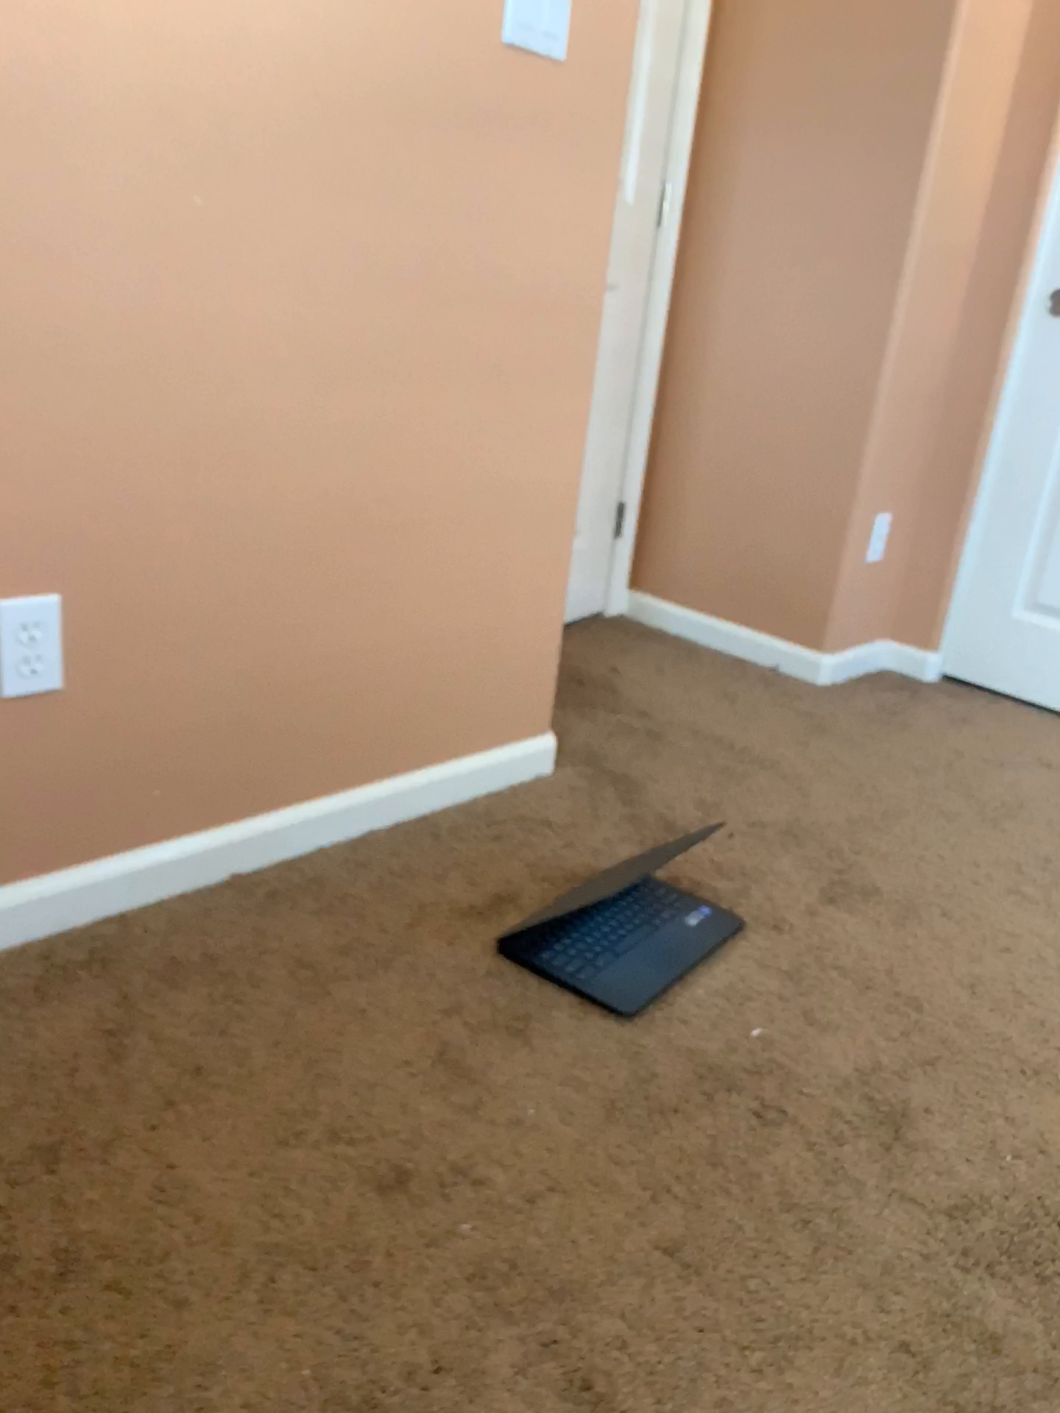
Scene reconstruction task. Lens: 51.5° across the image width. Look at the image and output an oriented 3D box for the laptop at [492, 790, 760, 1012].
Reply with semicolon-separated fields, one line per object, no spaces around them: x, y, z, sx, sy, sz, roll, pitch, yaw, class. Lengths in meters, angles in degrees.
0.126;0.232;1.390;0.195;0.127;0.290;18;23;34;laptop
